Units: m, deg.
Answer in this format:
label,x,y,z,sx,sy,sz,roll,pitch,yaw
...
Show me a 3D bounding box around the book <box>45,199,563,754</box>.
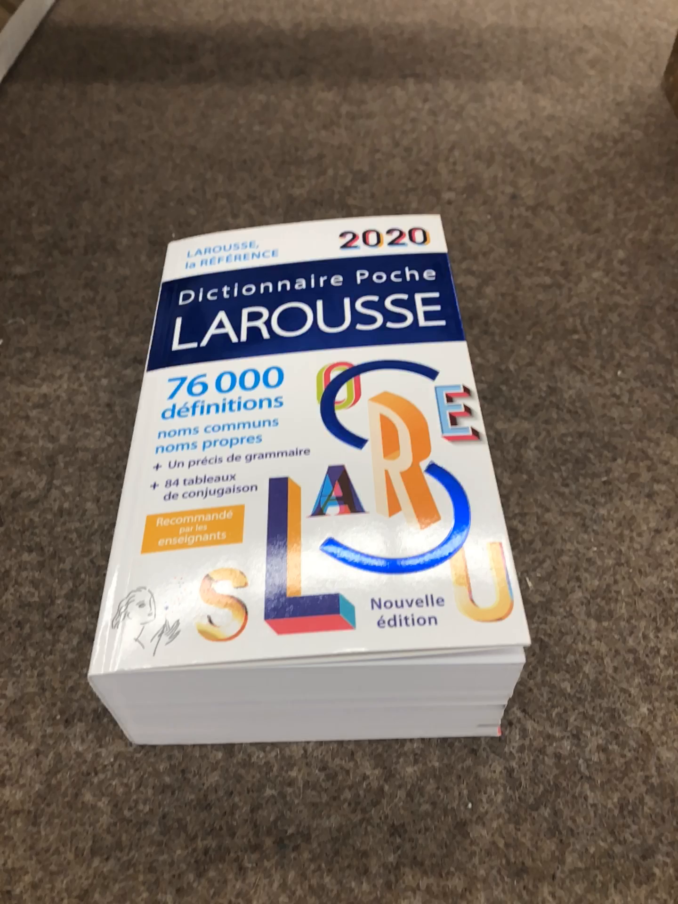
label,x,y,z,sx,sy,sz,roll,pitch,yaw
book,-0.012,-0.006,0.252,0.116,0.060,0.185,-1,50,-3
